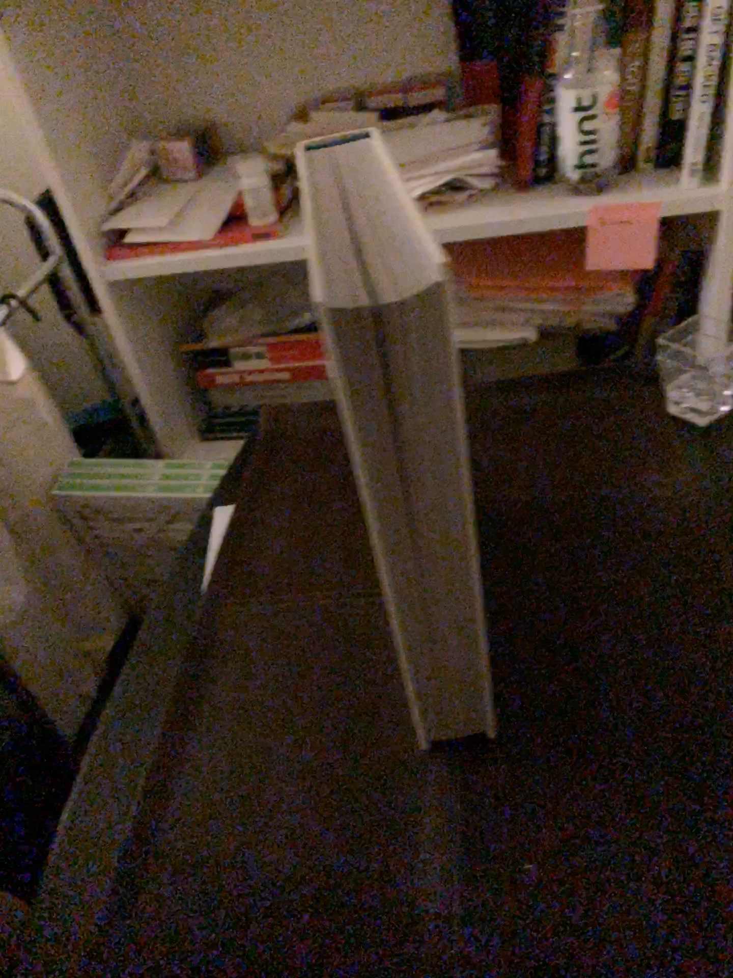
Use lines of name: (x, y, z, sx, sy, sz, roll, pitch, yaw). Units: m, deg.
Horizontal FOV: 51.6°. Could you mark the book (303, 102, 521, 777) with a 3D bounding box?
book: (0.023, -0.026, 0.388, 0.050, 0.268, 0.211, -10, 37, 3)
